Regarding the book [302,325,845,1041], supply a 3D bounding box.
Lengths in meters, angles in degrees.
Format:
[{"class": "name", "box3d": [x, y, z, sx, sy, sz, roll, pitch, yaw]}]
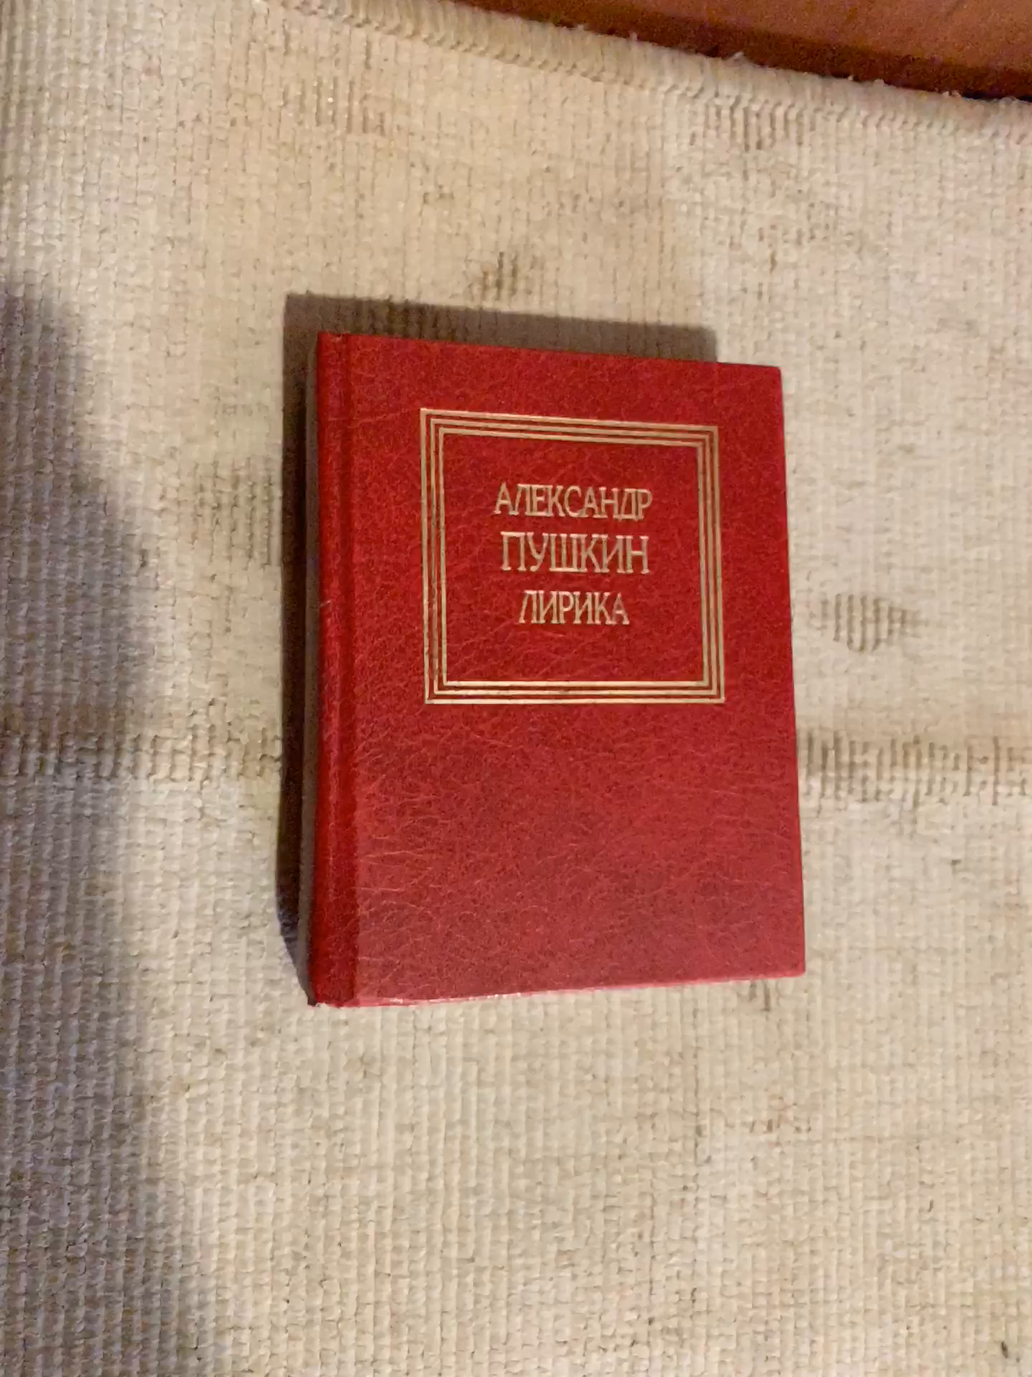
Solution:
[{"class": "book", "box3d": [0.012, -0.001, 0.252, 0.119, 0.034, 0.148, 1, 85, -13]}]
